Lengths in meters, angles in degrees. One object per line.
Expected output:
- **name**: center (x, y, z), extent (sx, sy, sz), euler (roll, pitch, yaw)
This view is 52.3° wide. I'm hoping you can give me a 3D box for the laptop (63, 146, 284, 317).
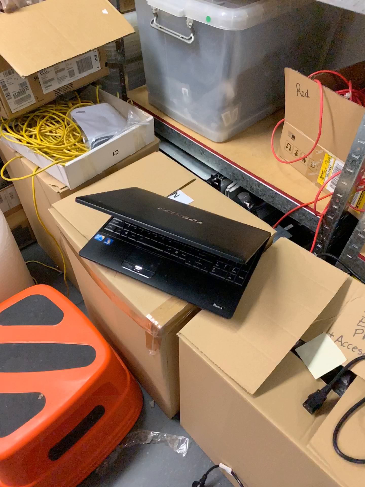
- **laptop**: center (-0.013, -0.039, 0.782), extent (0.355, 0.135, 0.232), euler (21, 53, 16)
